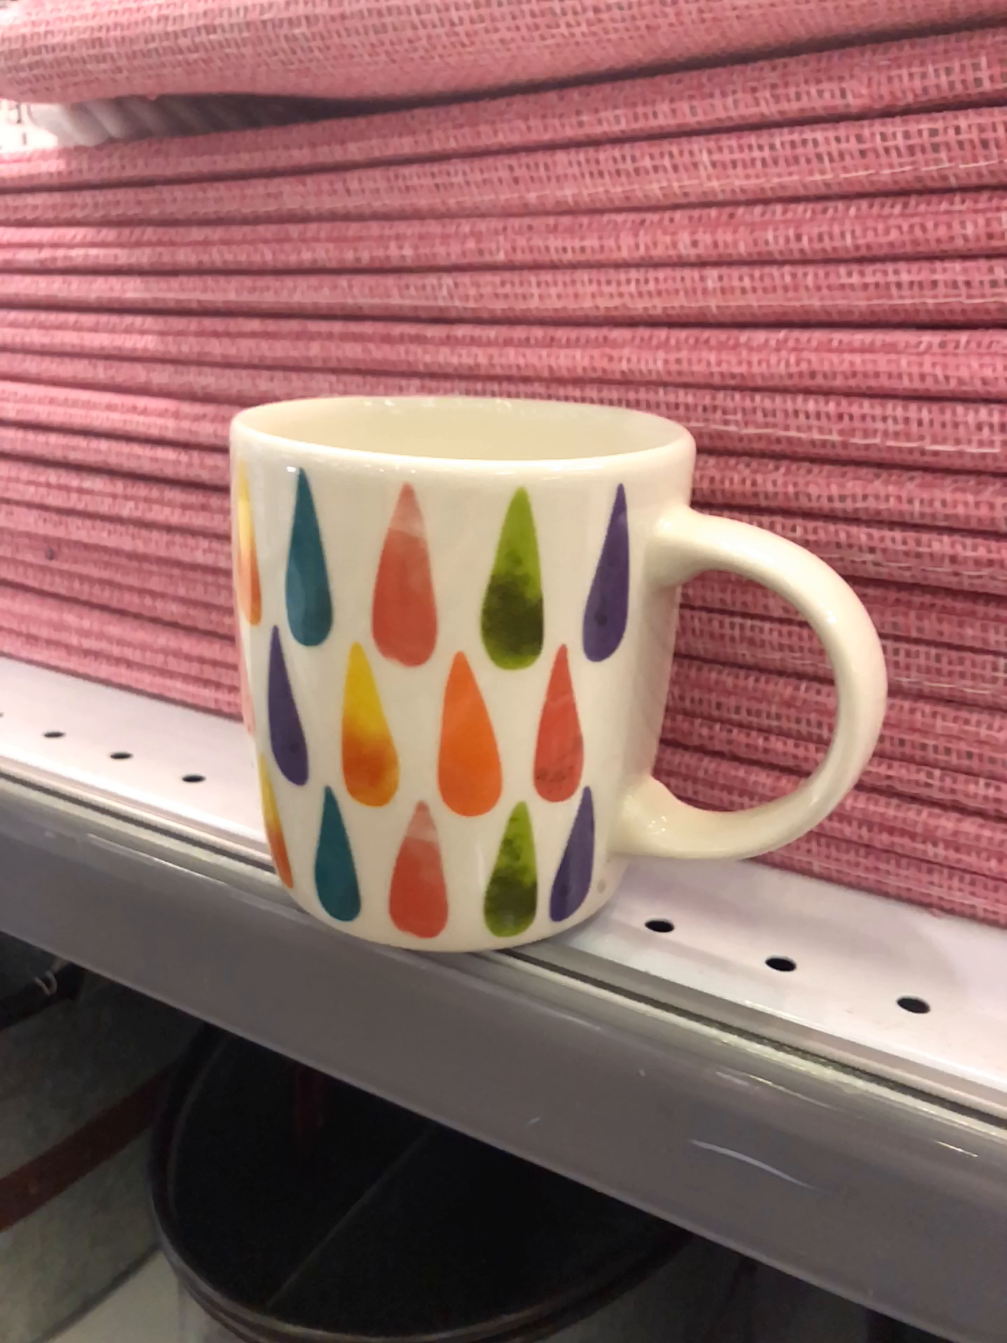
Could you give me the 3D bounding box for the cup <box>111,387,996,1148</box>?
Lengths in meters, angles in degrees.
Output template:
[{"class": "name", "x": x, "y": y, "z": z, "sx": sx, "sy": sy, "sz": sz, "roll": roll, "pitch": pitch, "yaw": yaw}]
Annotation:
[{"class": "cup", "x": 0.011, "y": 0.001, "z": 0.214, "sx": 0.130, "sy": 0.089, "sz": 0.090, "roll": 12, "pitch": 21, "yaw": 25}]
